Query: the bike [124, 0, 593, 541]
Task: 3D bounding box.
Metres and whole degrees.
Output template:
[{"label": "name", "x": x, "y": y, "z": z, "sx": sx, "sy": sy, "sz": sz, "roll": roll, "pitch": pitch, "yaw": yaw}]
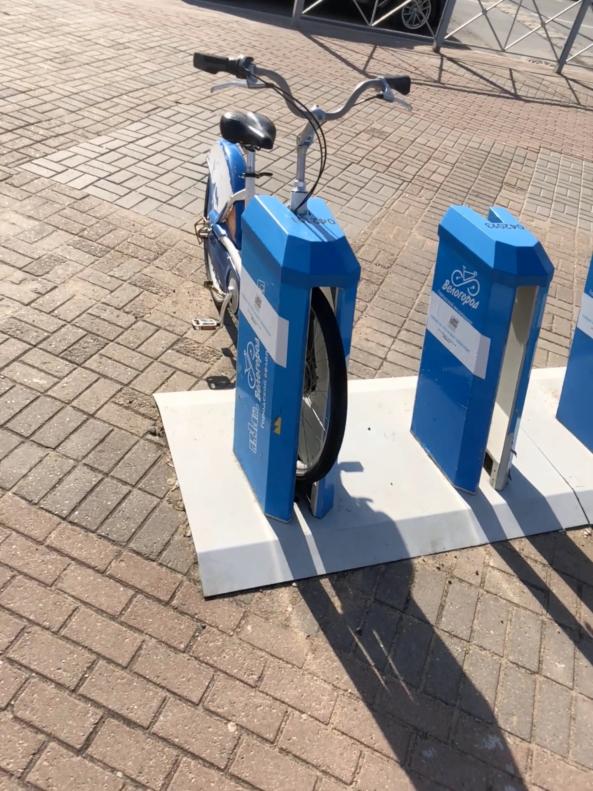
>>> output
[{"label": "bike", "x": -0.107, "y": -0.566, "z": 2.145, "sx": 0.682, "sy": 1.233, "sz": 1.683, "roll": -2, "pitch": 38, "yaw": -21}]
